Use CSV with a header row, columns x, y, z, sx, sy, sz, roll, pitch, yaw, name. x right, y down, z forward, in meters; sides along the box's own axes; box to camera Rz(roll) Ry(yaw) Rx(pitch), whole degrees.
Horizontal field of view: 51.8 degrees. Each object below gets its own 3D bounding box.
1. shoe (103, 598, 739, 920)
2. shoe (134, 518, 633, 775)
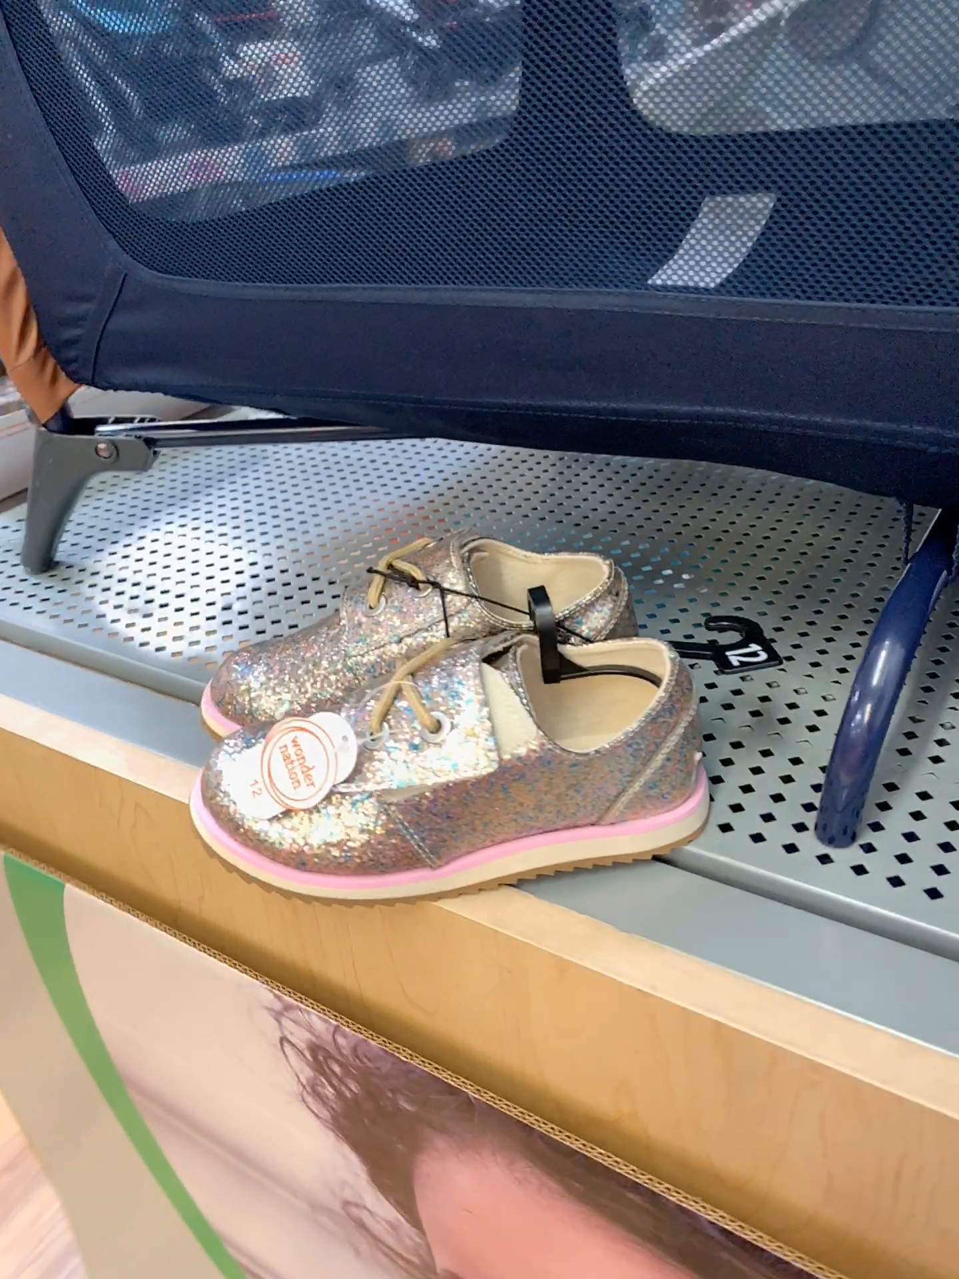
x,y,z,sx,sy,sz,roll,pitch,yaw,name
-0.018,0.042,0.369,0.205,0.060,0.086,-5,32,1,shoe
-0.036,0.002,0.443,0.199,0.070,0.084,-3,31,5,shoe
